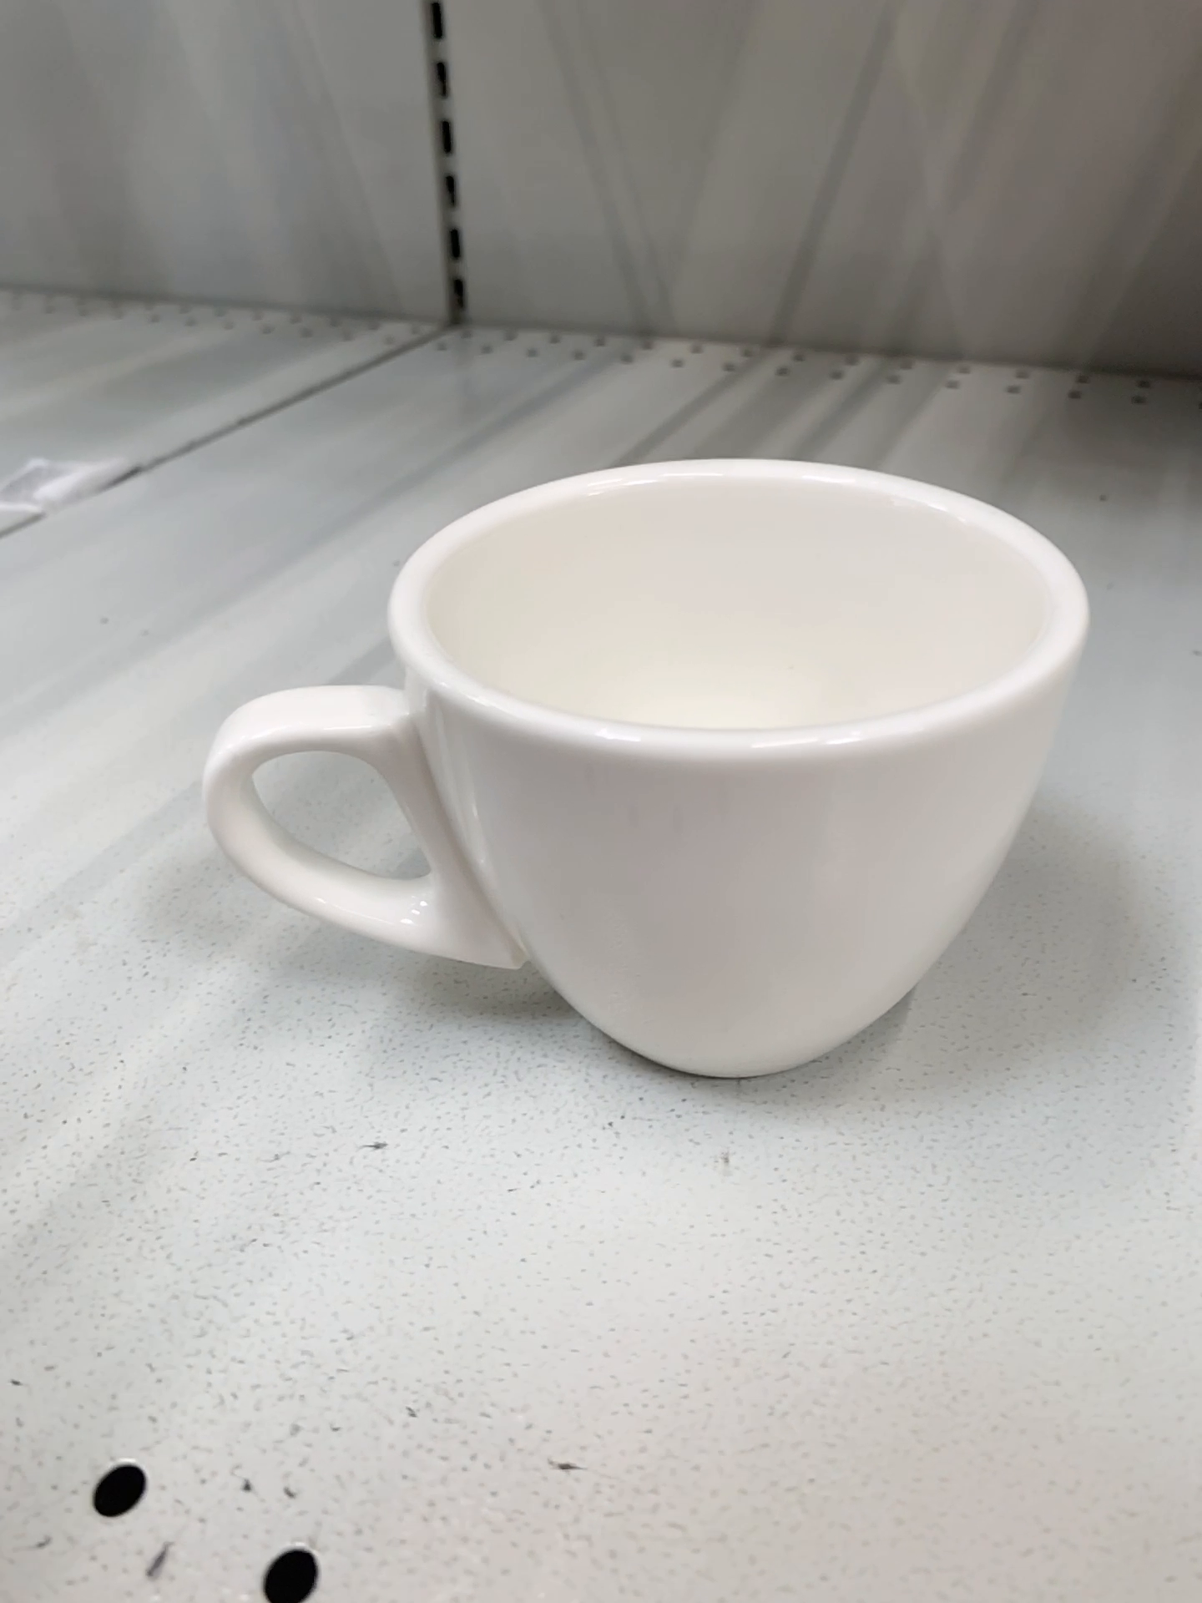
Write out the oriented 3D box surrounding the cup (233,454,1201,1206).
[{"bbox_3d":[0.021,-0.002,0.201,0.128,0.072,0.097,-3,33,-2],"label":"cup"}]
